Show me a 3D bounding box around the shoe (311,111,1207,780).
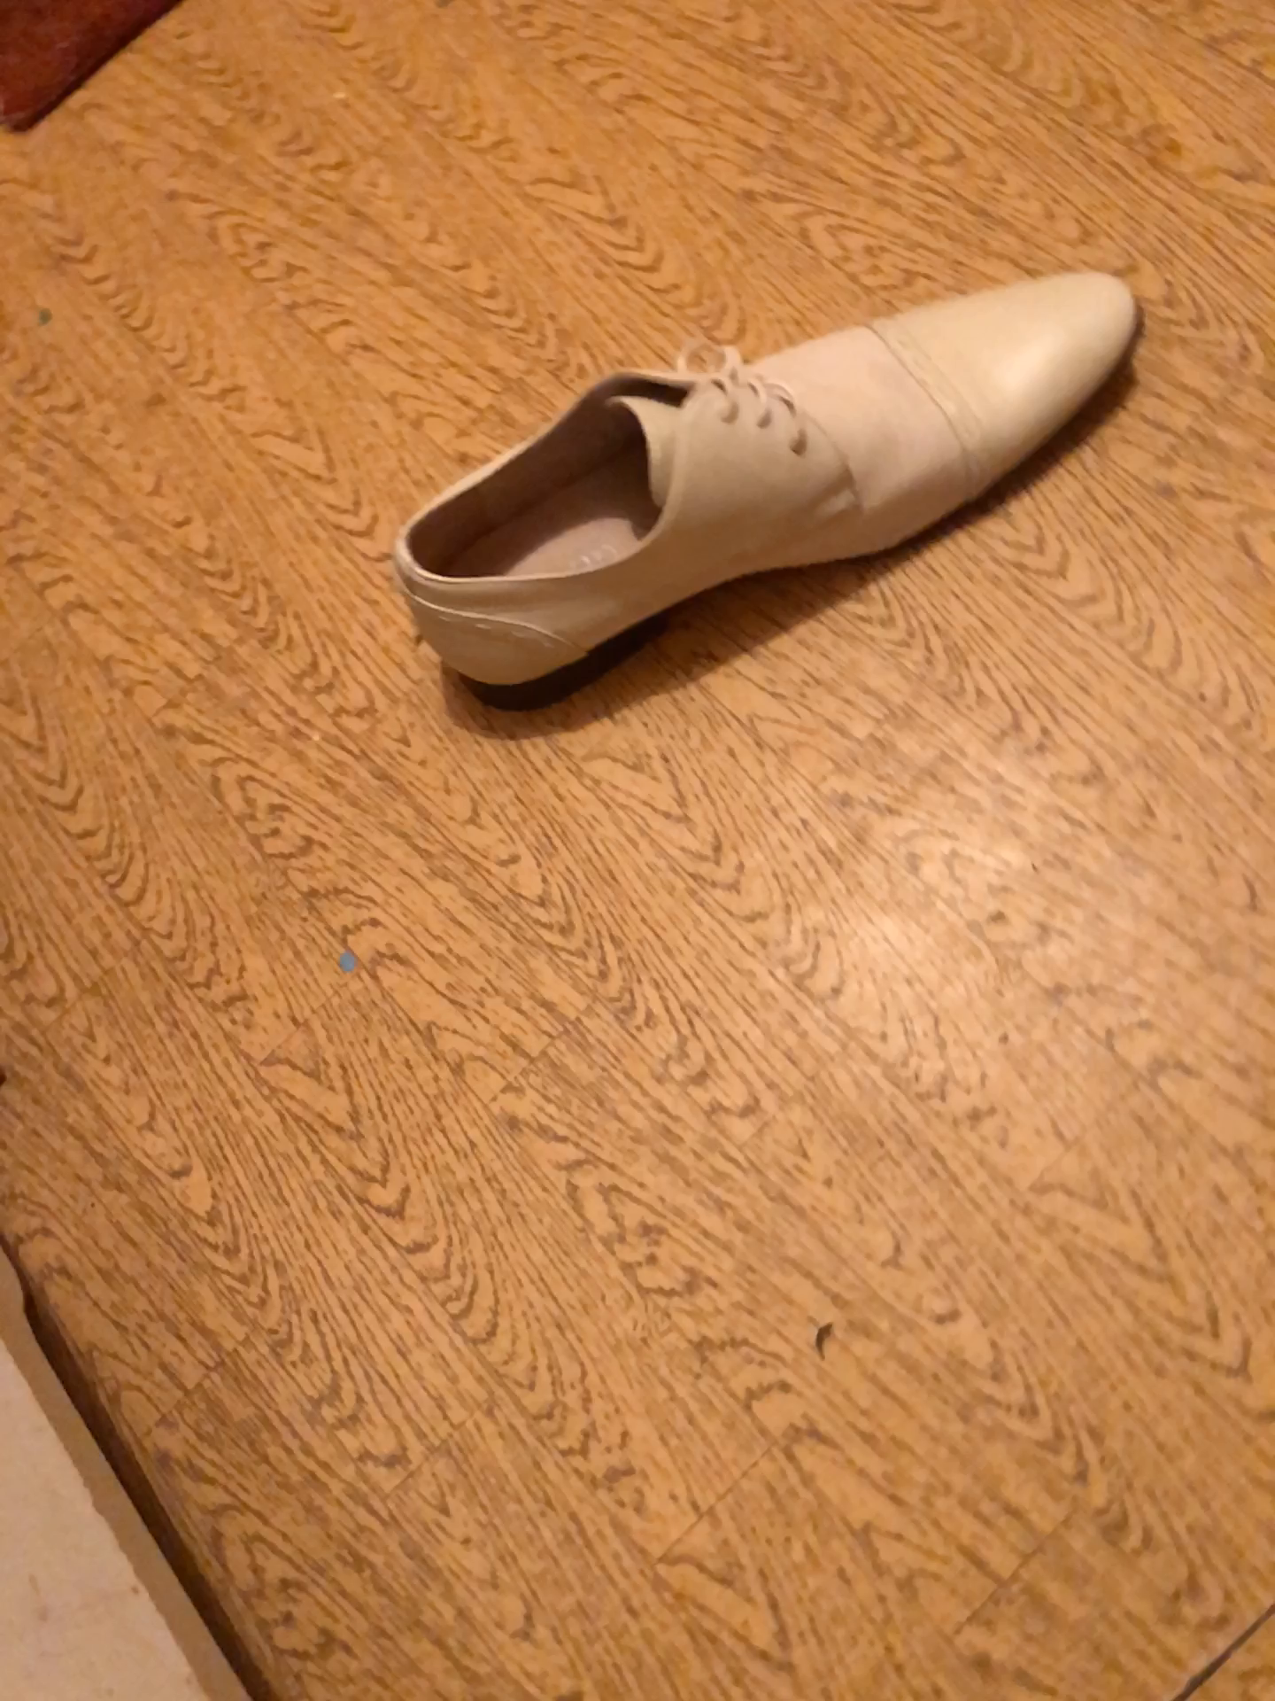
[{"bbox_3d":[0.045,-0.151,0.555,0.310,0.100,0.100,-24,69,3],"label":"shoe"}]
